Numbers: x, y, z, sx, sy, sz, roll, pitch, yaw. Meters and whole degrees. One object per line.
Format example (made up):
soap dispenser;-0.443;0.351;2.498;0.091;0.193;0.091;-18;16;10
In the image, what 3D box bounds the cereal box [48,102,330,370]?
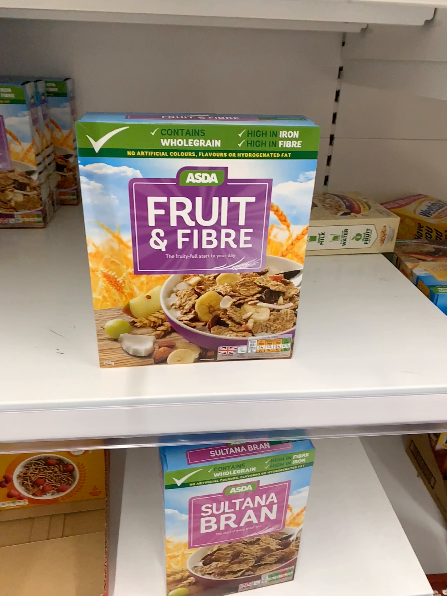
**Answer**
cereal box;-0.032;-0.062;0.483;0.240;0.258;0.081;-2;26;-7
